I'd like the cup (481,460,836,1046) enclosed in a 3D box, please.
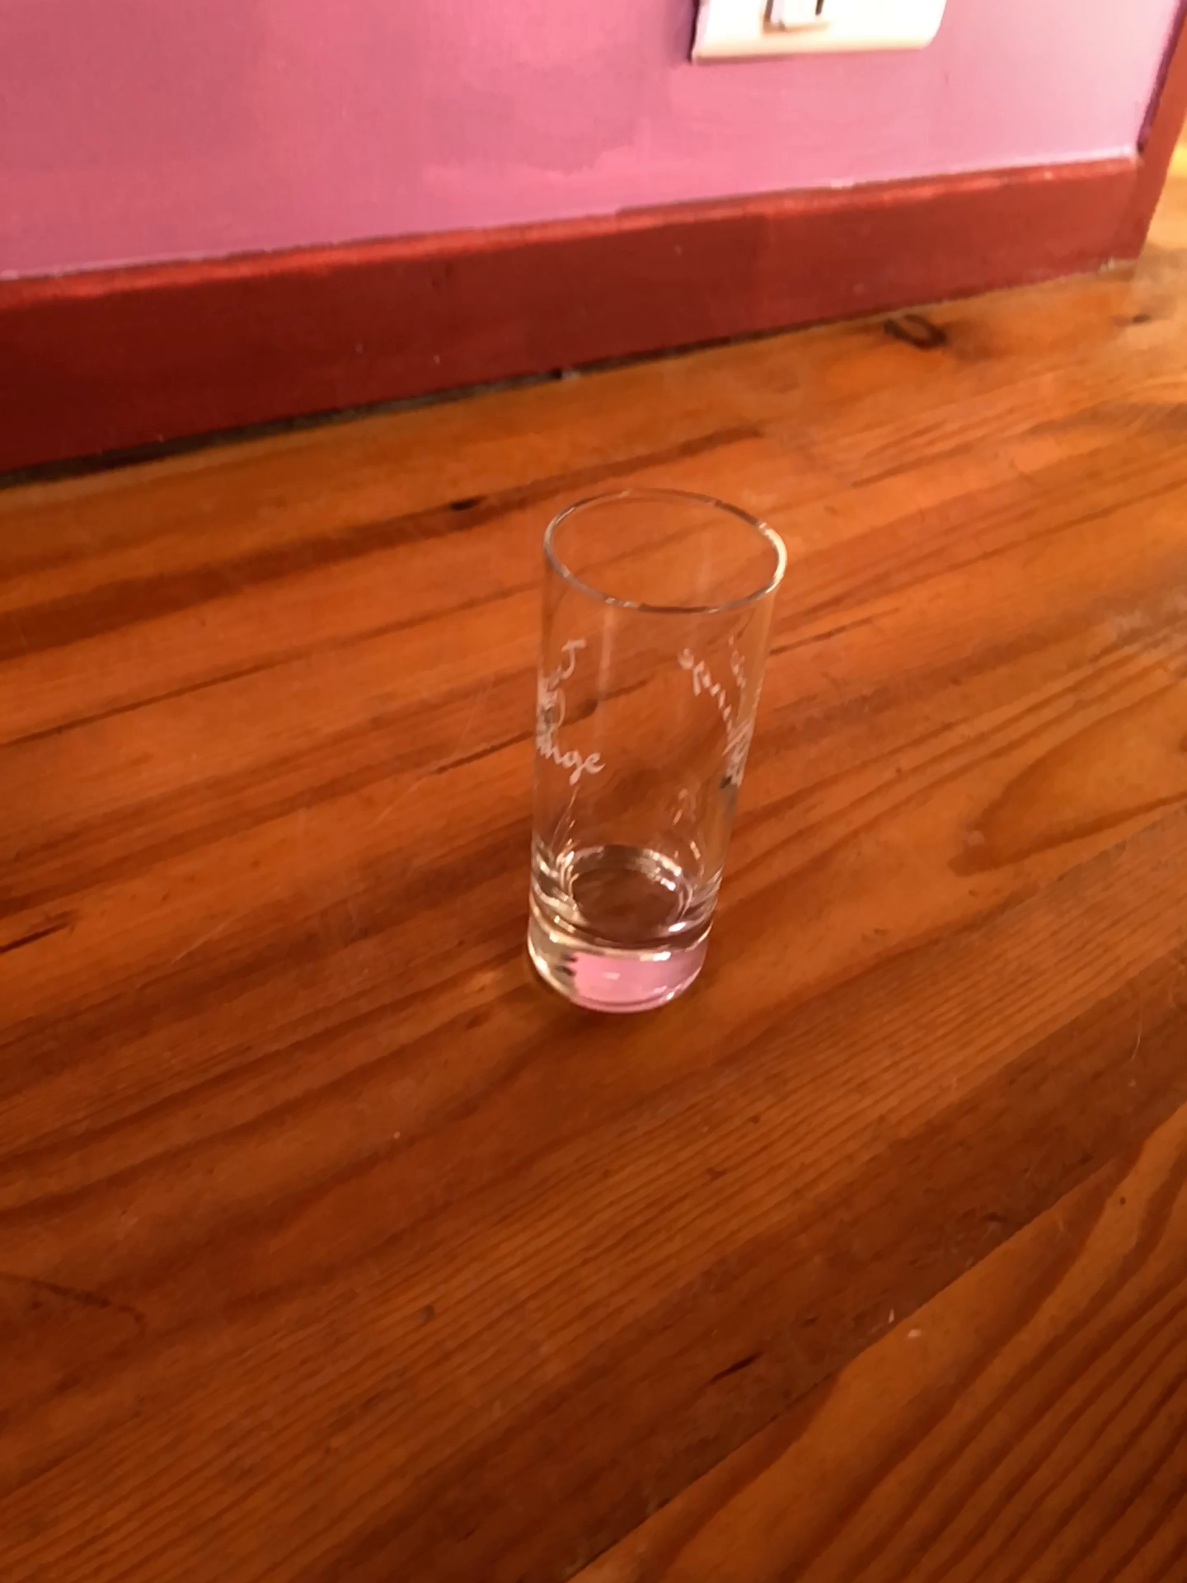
[{"bbox_3d":[0.009,-0.007,0.314,0.056,0.124,0.056,3,39,-3],"label":"cup"}]
